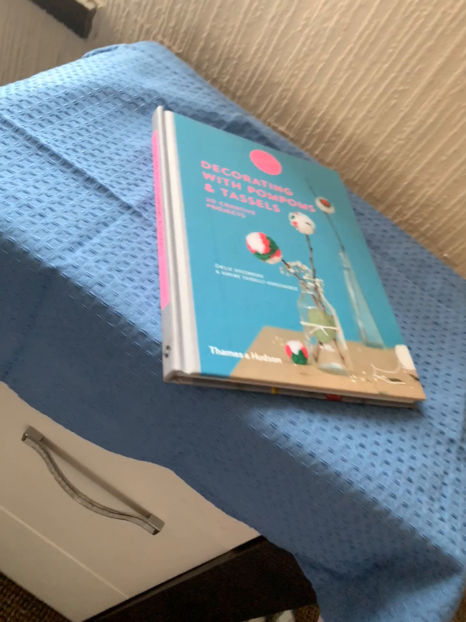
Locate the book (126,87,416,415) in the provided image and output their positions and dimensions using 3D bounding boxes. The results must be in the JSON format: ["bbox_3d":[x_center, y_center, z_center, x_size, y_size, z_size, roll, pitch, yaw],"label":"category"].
[{"bbox_3d":[0.019,-0.051,0.357,0.190,0.020,0.251,11,51,-28],"label":"book"}]
